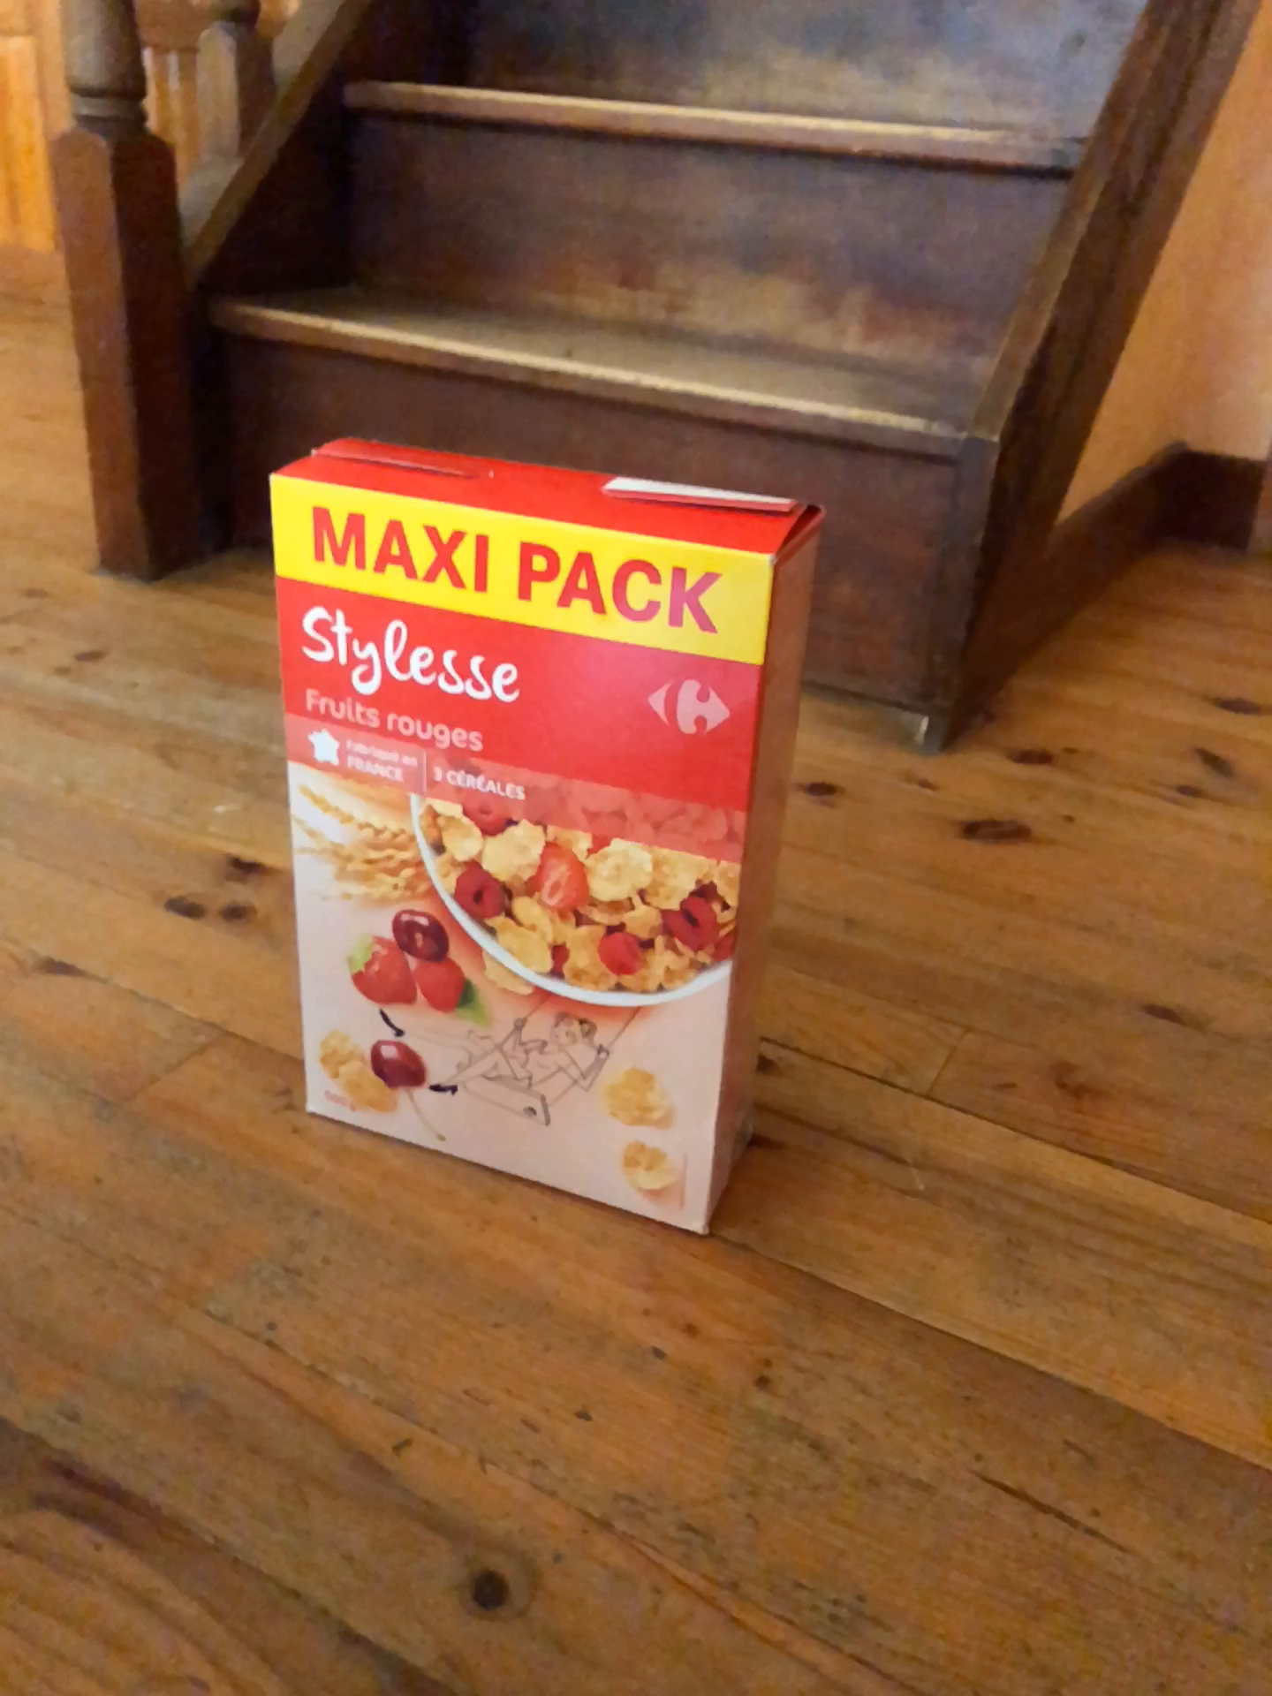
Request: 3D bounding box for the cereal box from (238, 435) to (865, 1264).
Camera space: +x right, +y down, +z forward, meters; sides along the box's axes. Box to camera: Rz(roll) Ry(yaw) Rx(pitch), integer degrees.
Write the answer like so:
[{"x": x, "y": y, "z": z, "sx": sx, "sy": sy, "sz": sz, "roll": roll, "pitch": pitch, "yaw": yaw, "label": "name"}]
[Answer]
[{"x": -0.039, "y": -0.001, "z": 0.575, "sx": 0.210, "sy": 0.288, "sz": 0.091, "roll": 13, "pitch": 27, "yaw": 17, "label": "cereal box"}]
